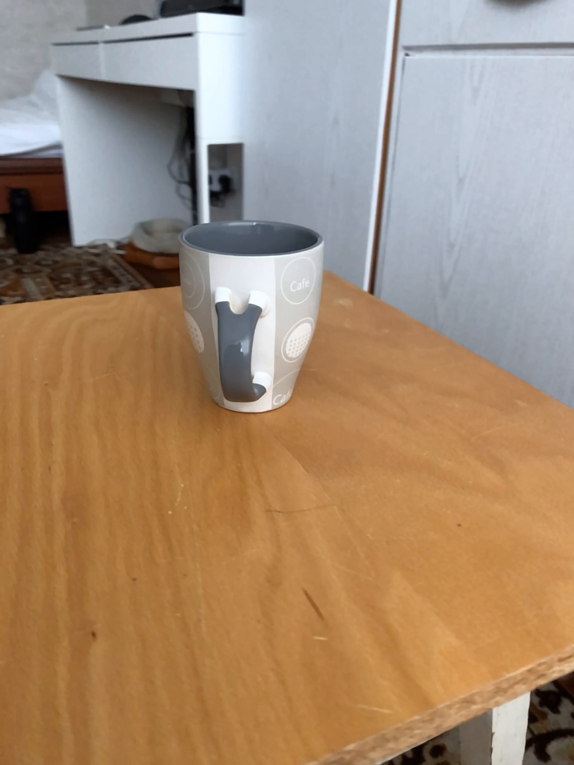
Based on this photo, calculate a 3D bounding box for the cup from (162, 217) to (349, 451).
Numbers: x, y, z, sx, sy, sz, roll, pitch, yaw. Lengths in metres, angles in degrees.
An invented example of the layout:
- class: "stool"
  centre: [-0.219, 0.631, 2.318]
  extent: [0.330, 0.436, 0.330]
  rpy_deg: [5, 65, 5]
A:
- class: "cup"
  centre: [-0.018, -0.034, 0.362]
  extent: [0.084, 0.093, 0.127]
  rpy_deg: [0, 25, -3]
